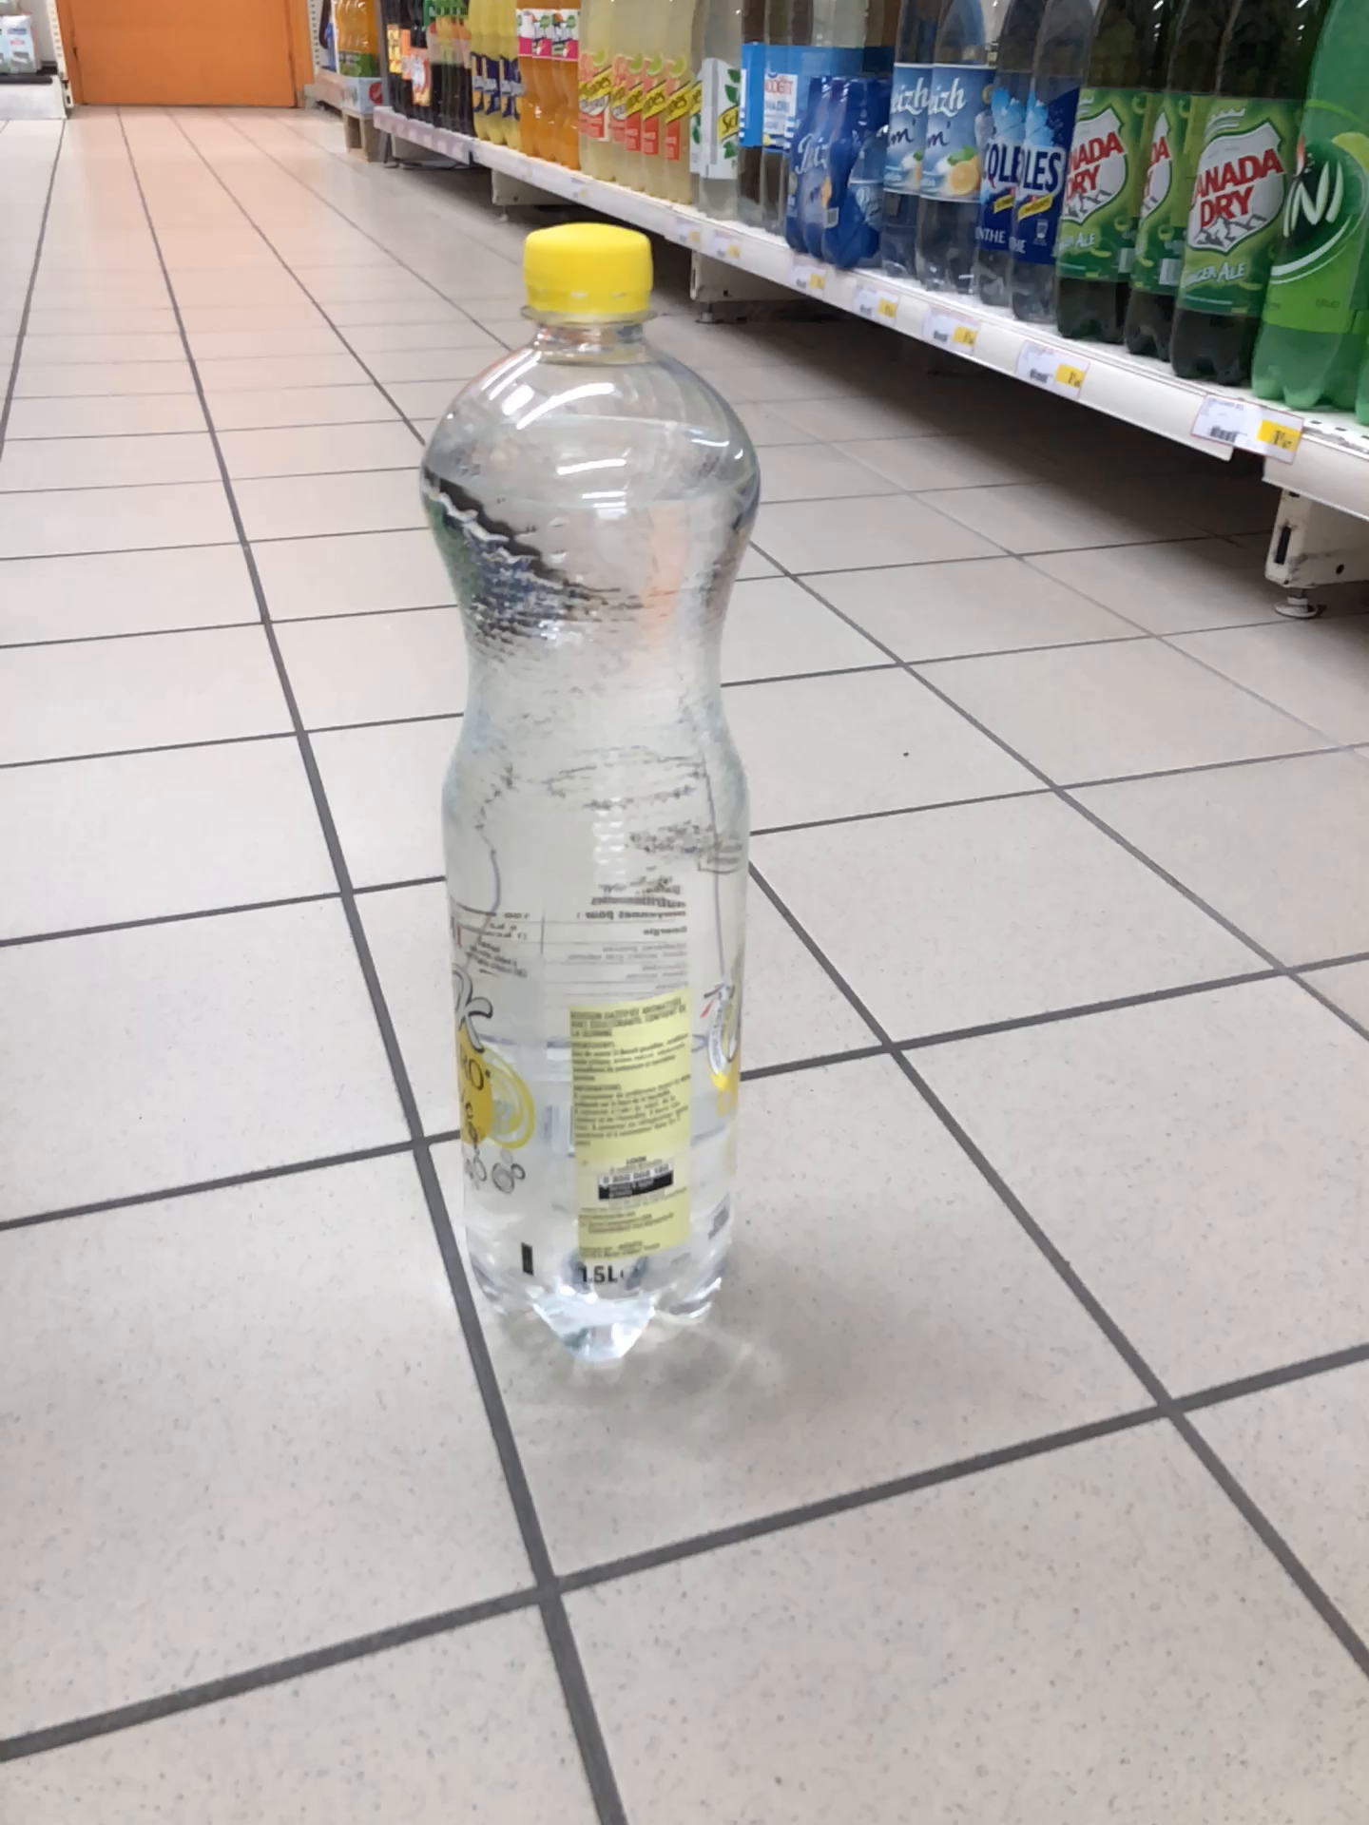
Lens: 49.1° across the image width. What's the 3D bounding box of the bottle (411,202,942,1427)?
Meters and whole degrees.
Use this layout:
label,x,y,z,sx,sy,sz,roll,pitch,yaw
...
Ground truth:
label,x,y,z,sx,sy,sz,roll,pitch,yaw
bottle,-0.011,-0.017,0.416,0.100,0.318,0.100,1,29,-1
